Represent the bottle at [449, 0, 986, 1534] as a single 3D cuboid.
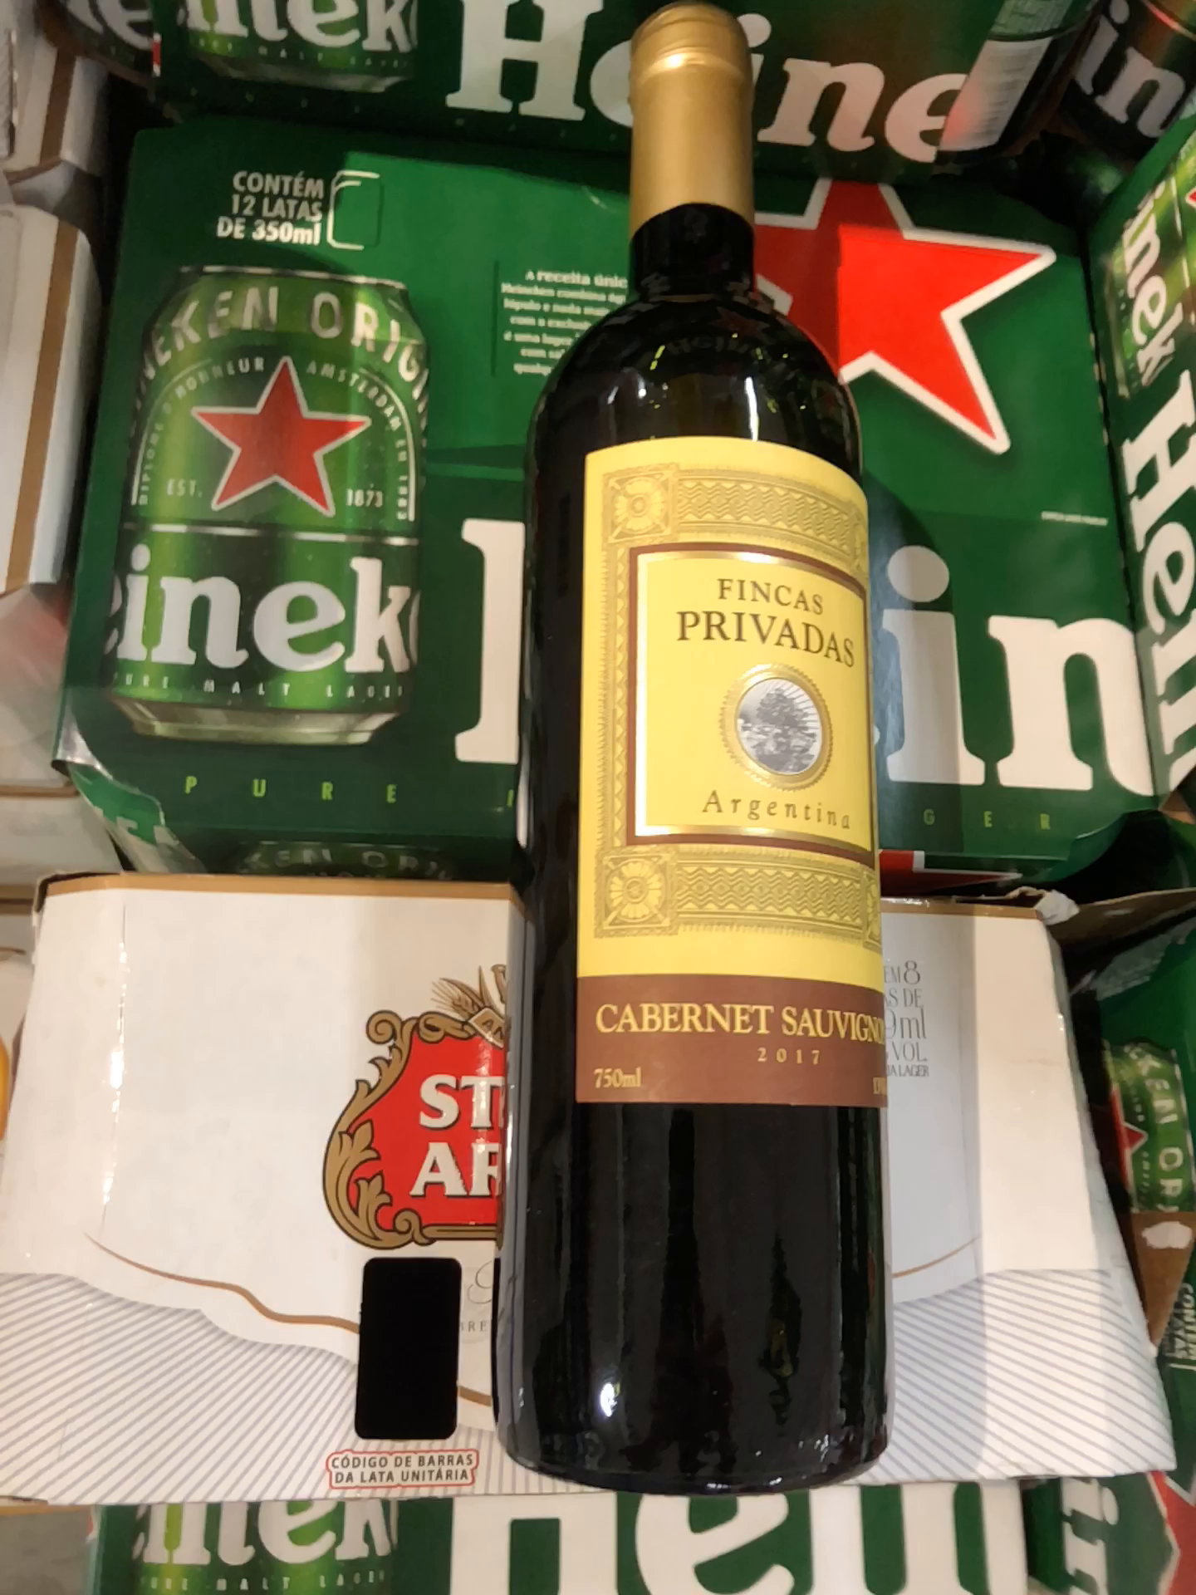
[{"bbox_3d":[0.019,-0.039,0.278,0.080,0.060,0.331,3,72,-7],"label":"bottle"}]
